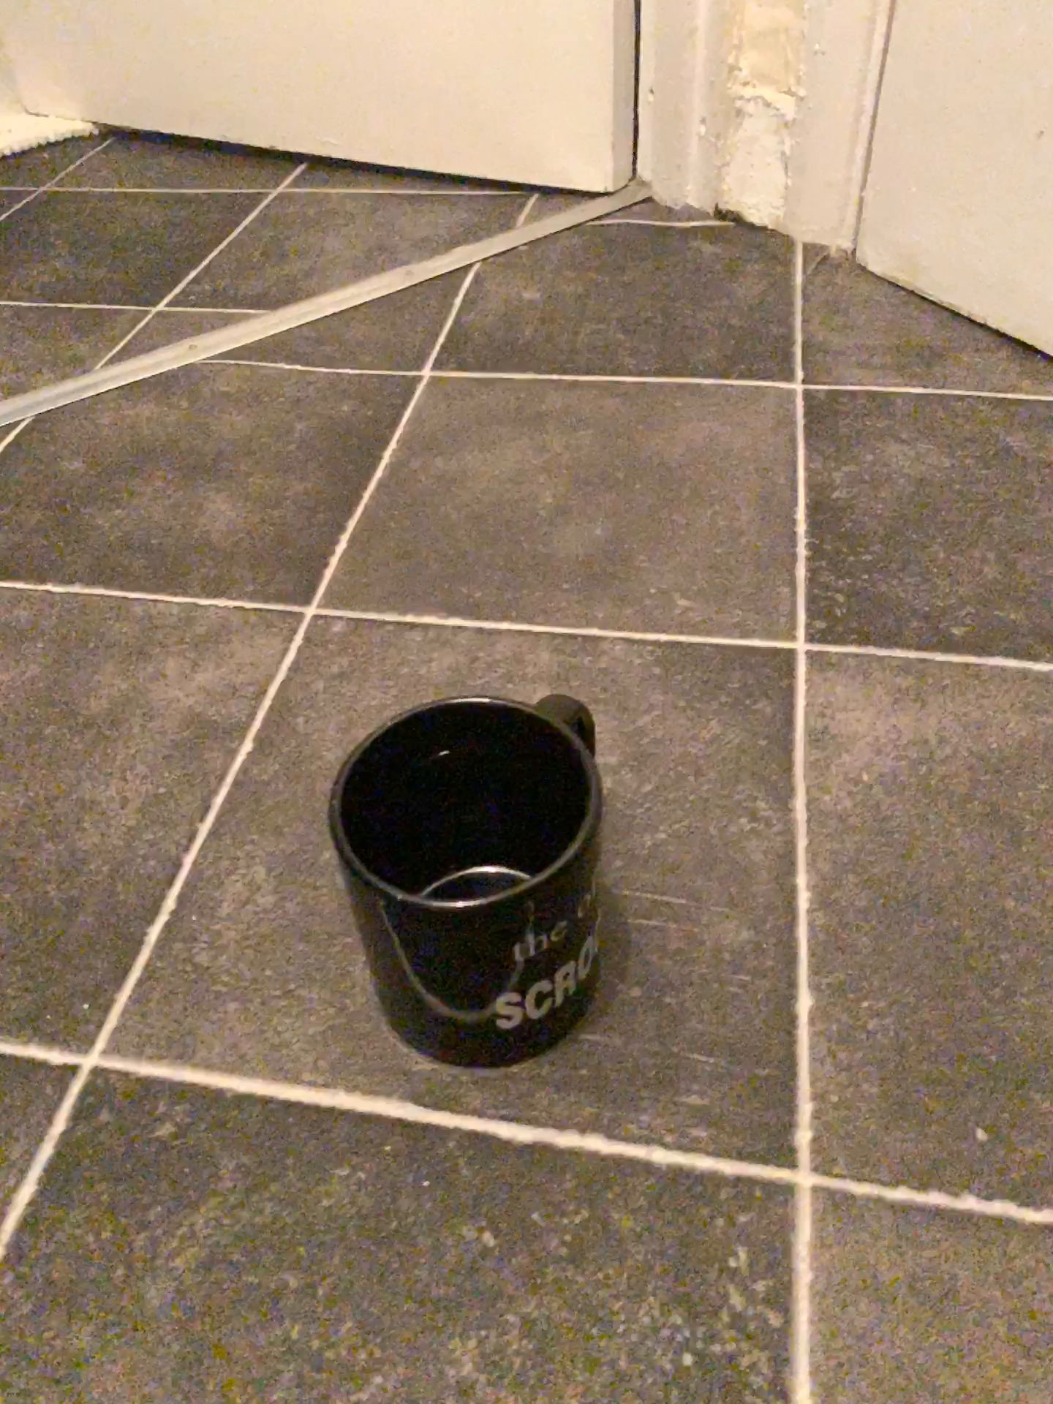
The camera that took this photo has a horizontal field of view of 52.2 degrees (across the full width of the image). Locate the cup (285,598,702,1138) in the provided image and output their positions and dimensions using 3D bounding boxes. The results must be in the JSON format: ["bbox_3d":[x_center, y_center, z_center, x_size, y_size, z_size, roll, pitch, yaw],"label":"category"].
[{"bbox_3d":[-0.003,0.054,0.366,0.080,0.114,0.118,19,48,22],"label":"cup"}]
